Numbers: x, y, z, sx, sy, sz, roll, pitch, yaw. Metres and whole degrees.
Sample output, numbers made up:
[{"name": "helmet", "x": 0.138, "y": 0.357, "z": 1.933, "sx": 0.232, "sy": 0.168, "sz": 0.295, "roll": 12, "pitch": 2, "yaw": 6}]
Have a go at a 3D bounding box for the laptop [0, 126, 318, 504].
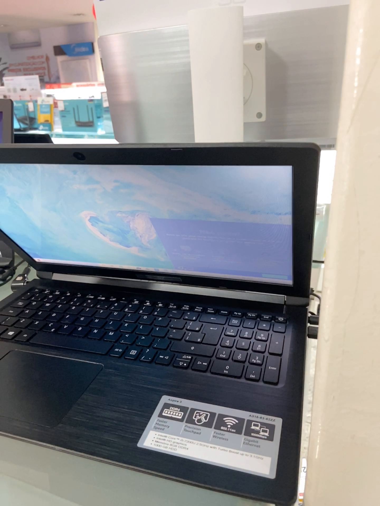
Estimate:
[{"name": "laptop", "x": -0.082, "y": 0.005, "z": 0.360, "sx": 0.367, "sy": 0.193, "sz": 0.235, "roll": 3, "pitch": 23, "yaw": 18}]
